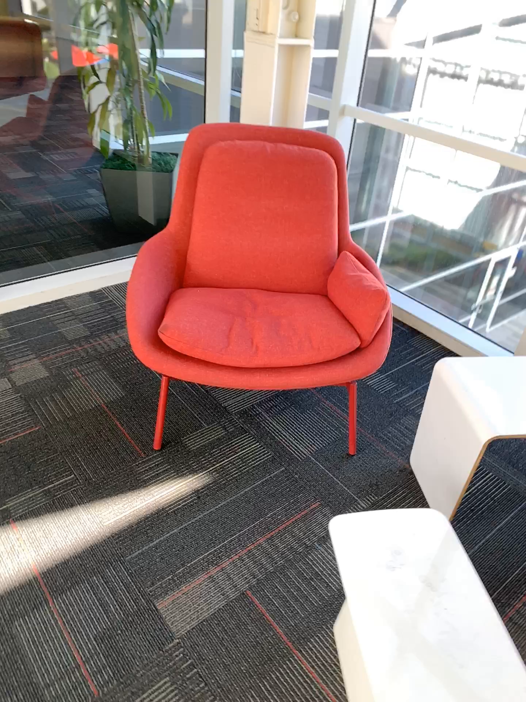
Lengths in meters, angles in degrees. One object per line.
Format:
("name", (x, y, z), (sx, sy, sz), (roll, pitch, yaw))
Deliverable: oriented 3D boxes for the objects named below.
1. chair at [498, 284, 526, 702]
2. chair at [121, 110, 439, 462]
("chair", (1.232, 0.550, 1.039), (0.920, 0.994, 0.876), (4, 35, -3))
("chair", (-0.008, -0.253, 2.090), (0.870, 1.053, 0.825), (2, 35, -5))
